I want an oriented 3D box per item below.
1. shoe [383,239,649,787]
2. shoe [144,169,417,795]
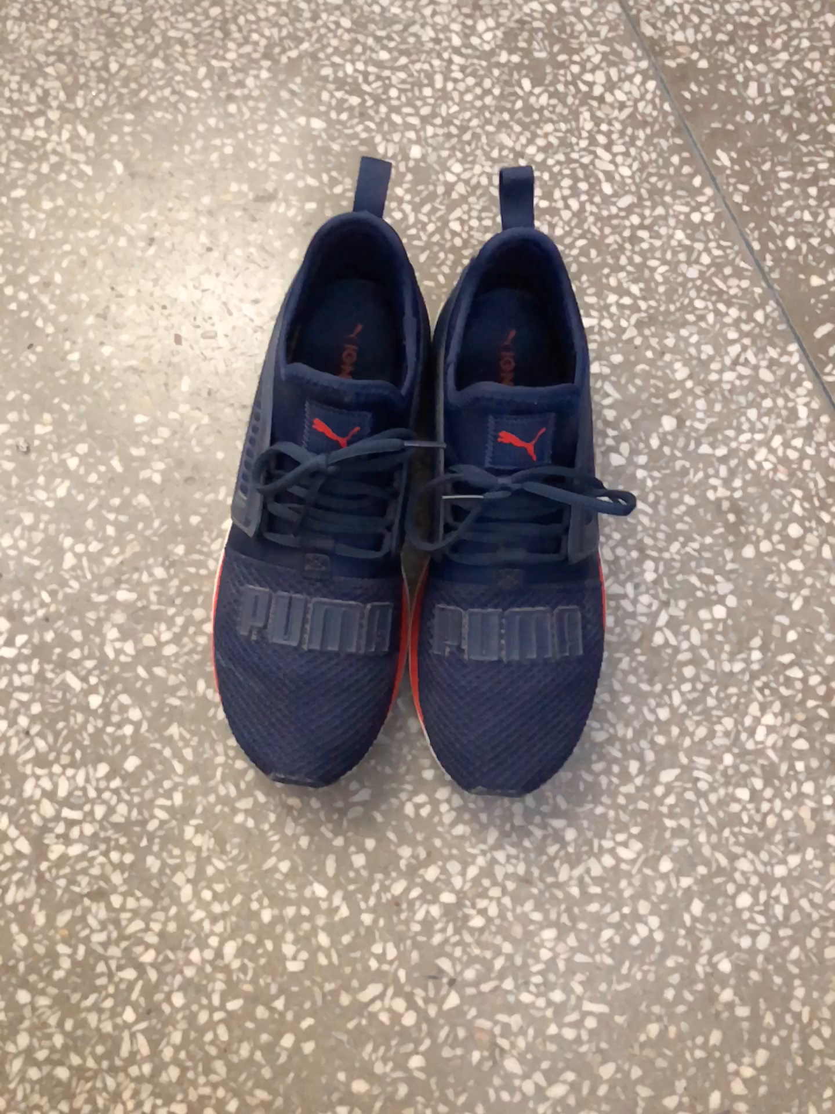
[{"bbox_3d":[0.042,-0.012,0.435,0.100,0.120,0.230,0,76,4],"label":"shoe"},{"bbox_3d":[-0.054,-0.029,0.433,0.100,0.100,0.270,1,76,-2],"label":"shoe"}]
